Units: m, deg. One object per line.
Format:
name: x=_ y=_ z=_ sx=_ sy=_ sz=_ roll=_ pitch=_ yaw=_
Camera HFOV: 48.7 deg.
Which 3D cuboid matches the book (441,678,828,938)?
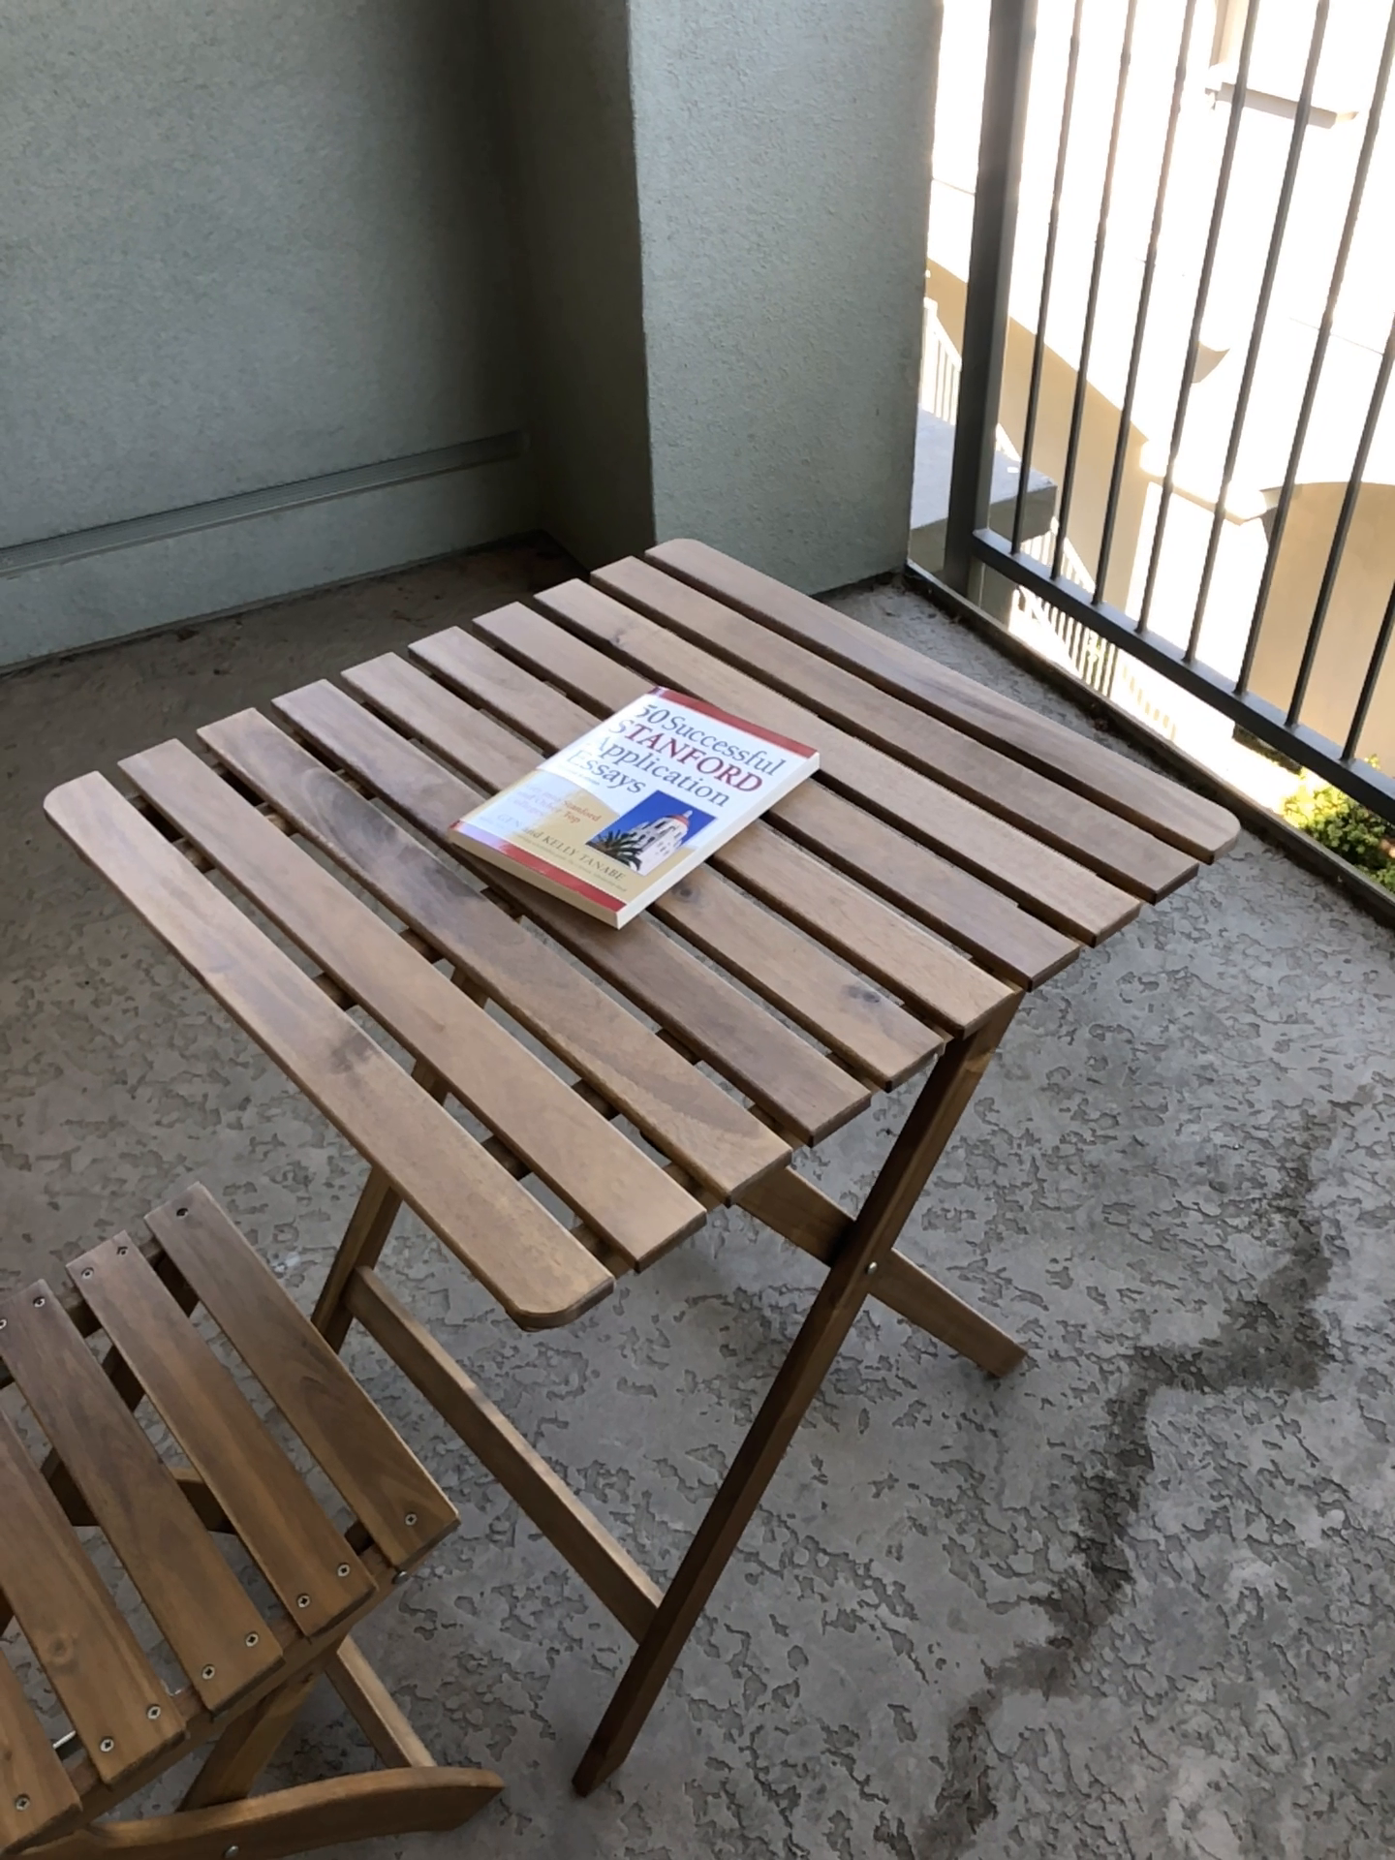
book: x=-0.039 y=-0.092 z=1.056 sx=0.157 sy=0.020 sz=0.224 roll=26 pitch=48 yaw=29
